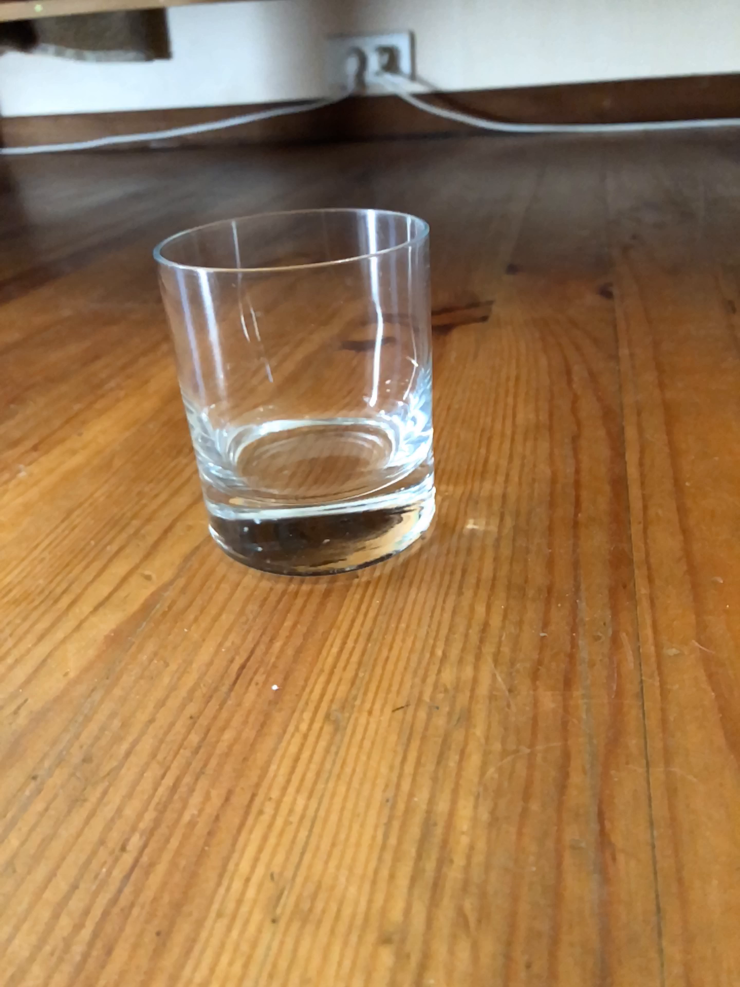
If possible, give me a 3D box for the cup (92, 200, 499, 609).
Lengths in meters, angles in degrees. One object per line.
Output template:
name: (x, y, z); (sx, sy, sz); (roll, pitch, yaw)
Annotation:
cup: (-0.019, -0.036, 0.261); (0.087, 0.090, 0.082); (-3, 28, 2)
